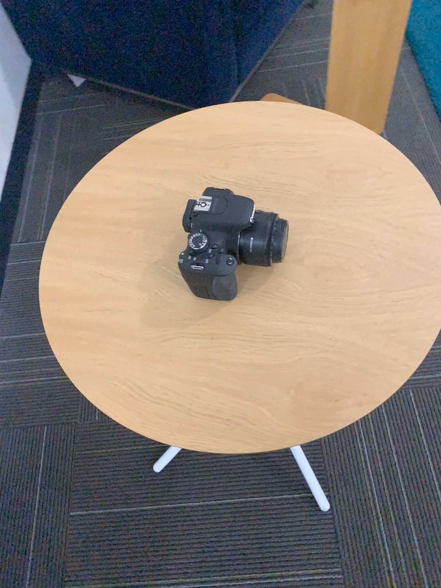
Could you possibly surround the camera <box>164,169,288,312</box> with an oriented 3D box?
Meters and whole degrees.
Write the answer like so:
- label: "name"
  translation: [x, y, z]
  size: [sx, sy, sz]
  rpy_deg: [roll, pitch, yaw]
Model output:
- label: "camera"
  translation: [0.015, -0.065, 0.552]
  size: [0.117, 0.100, 0.130]
  rpy_deg: [7, 63, 13]
